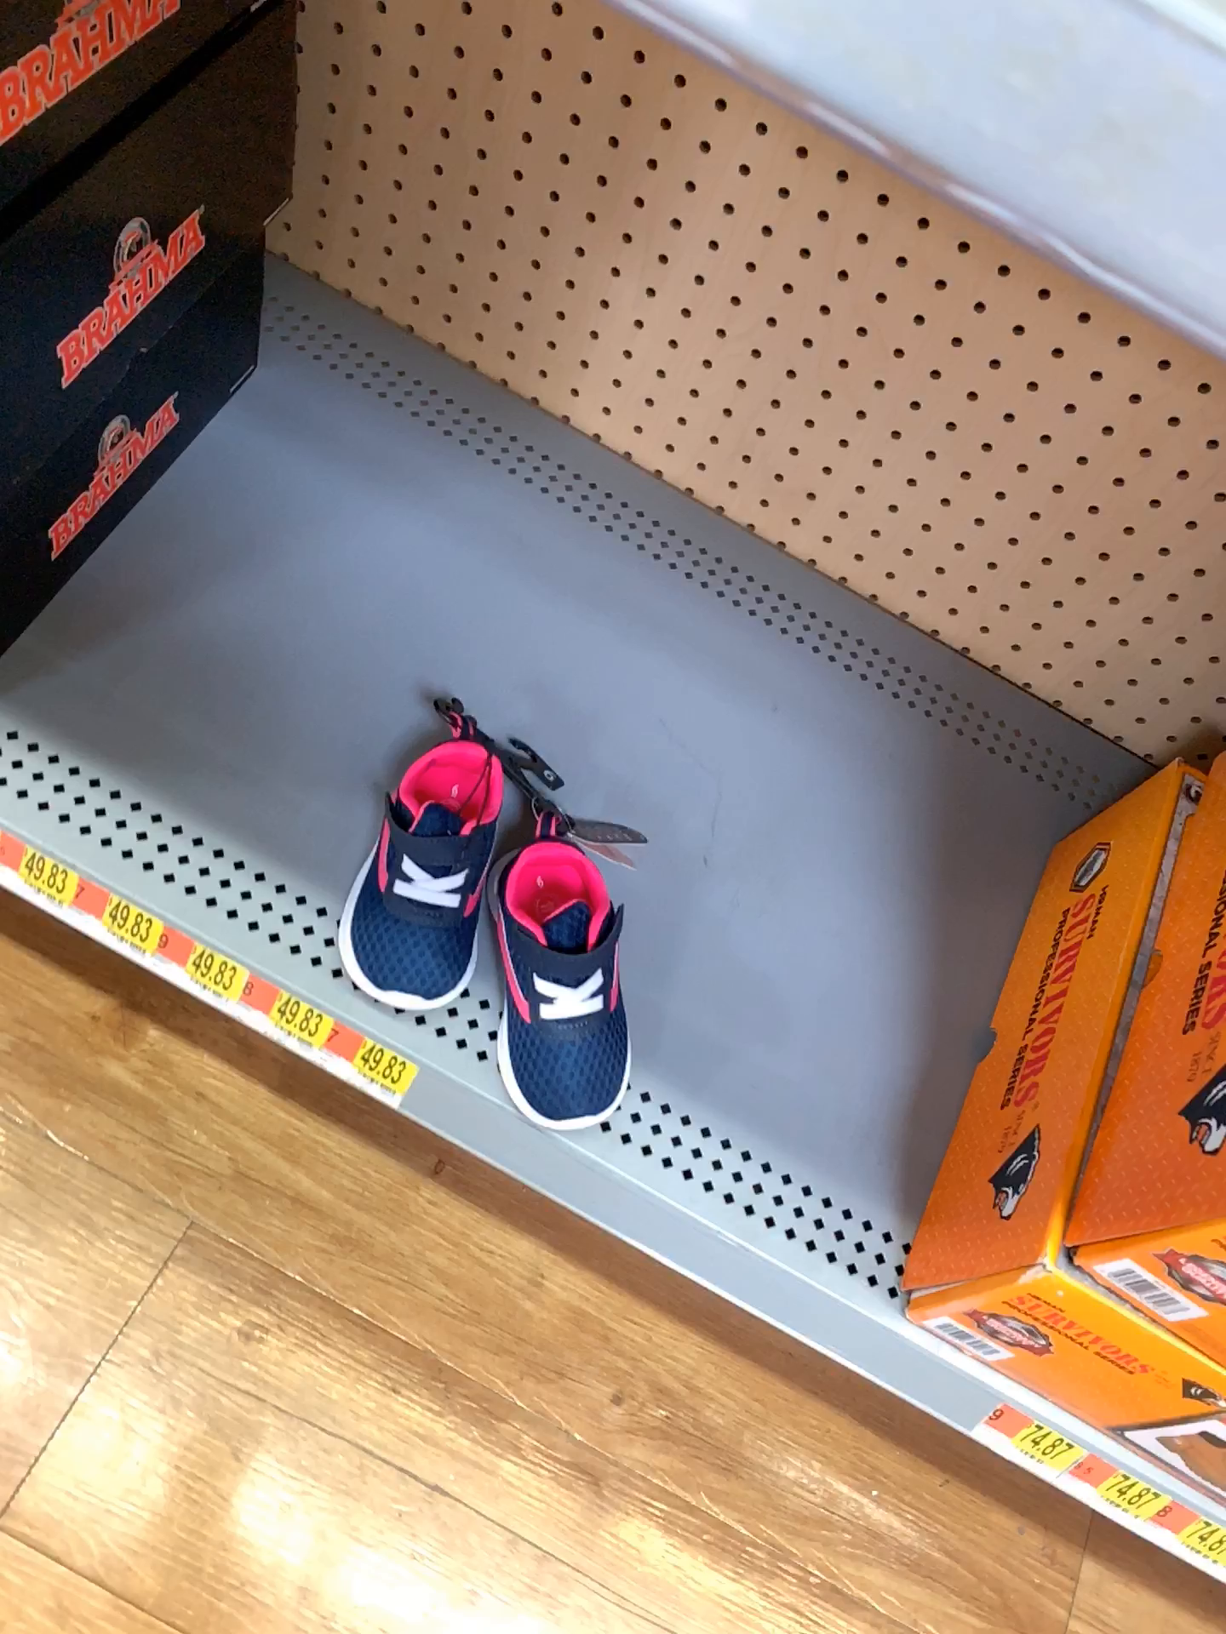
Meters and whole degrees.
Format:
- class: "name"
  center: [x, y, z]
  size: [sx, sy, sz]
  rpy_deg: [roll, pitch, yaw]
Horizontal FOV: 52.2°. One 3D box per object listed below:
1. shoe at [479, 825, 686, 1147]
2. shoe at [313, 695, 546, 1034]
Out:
- class: "shoe"
  center: [-0.019, 0.084, 0.632]
  size: [0.073, 0.064, 0.146]
  rpy_deg: [0, 64, -18]
- class: "shoe"
  center: [-0.093, 0.024, 0.640]
  size: [0.073, 0.064, 0.146]
  rpy_deg: [18, 60, -8]
